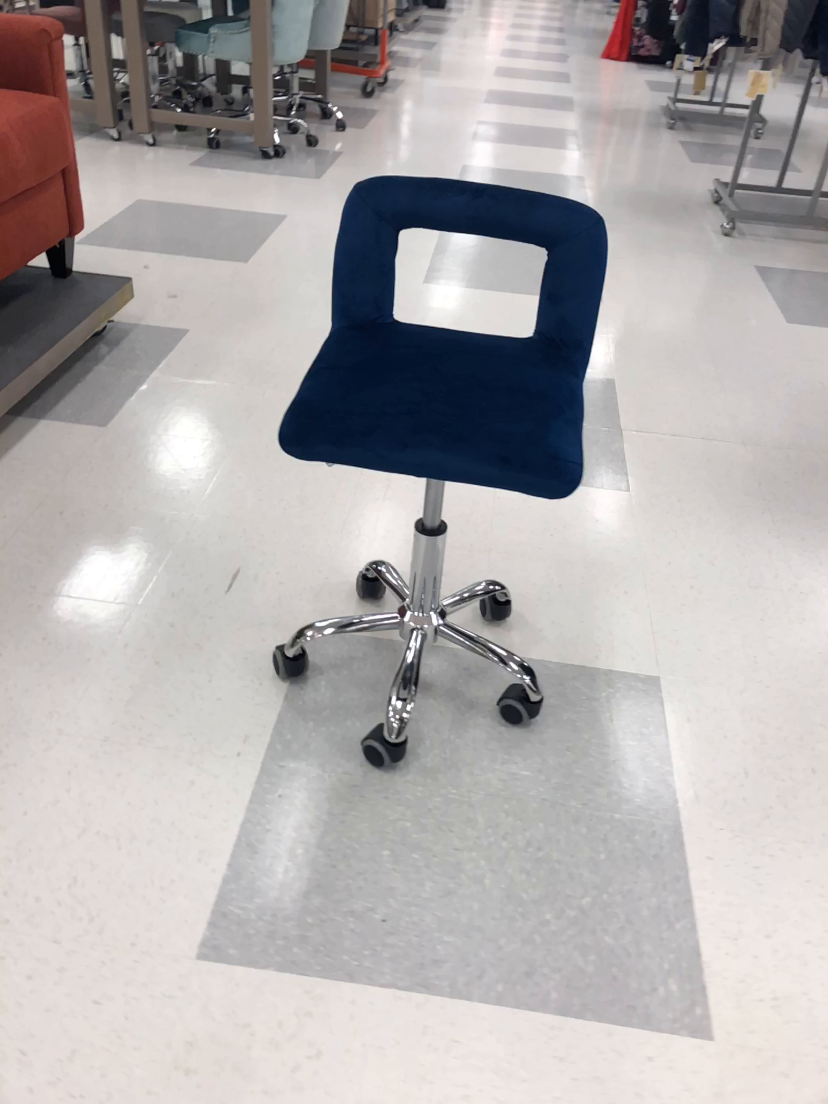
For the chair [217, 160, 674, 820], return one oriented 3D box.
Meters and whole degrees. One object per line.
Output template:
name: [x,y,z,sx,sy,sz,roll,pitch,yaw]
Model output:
chair: [0.036,-0.103,1.295,0.447,0.719,0.532,8,34,4]
